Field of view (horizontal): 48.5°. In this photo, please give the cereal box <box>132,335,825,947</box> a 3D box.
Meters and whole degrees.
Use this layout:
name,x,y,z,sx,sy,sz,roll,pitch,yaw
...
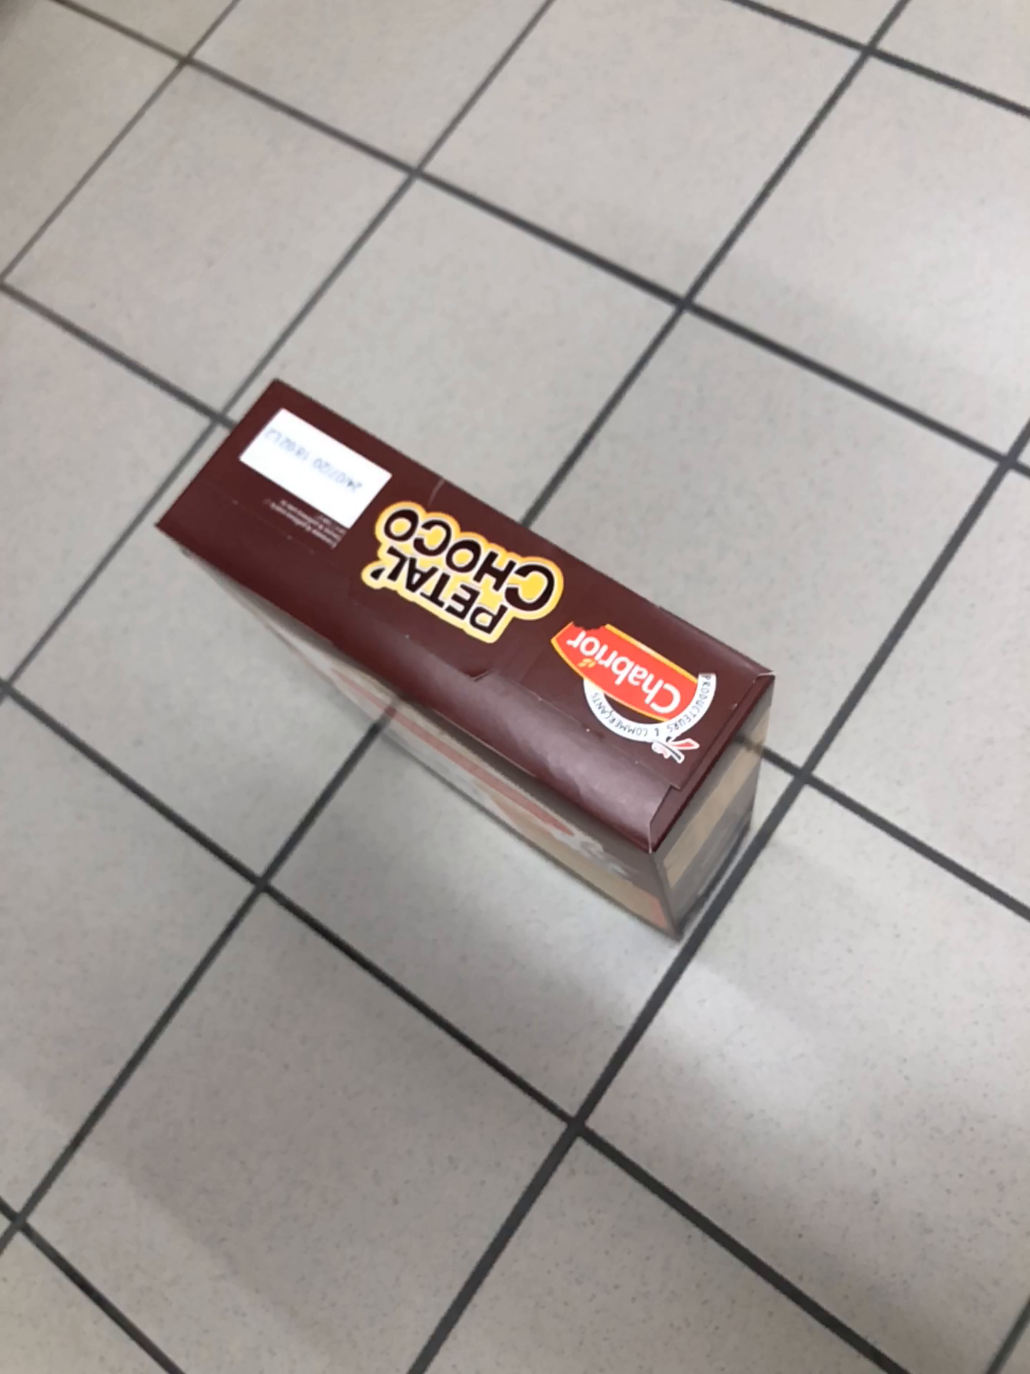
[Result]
name,x,y,z,sx,sy,sz,roll,pitch,yaw
cereal box,0.006,0.007,0.461,0.200,0.280,0.070,32,81,18
